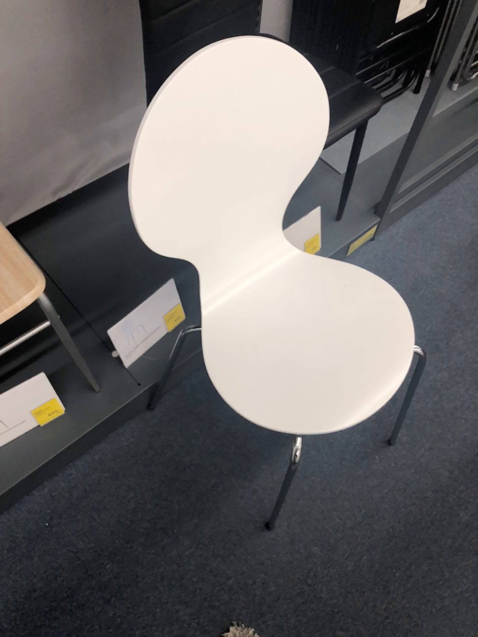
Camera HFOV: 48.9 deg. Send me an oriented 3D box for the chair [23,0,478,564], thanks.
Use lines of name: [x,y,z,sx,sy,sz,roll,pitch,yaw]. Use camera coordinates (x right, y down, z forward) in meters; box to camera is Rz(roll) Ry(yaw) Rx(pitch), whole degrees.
chair: [0.076,-0.011,1.071,0.561,0.818,0.641,-29,65,-20]
